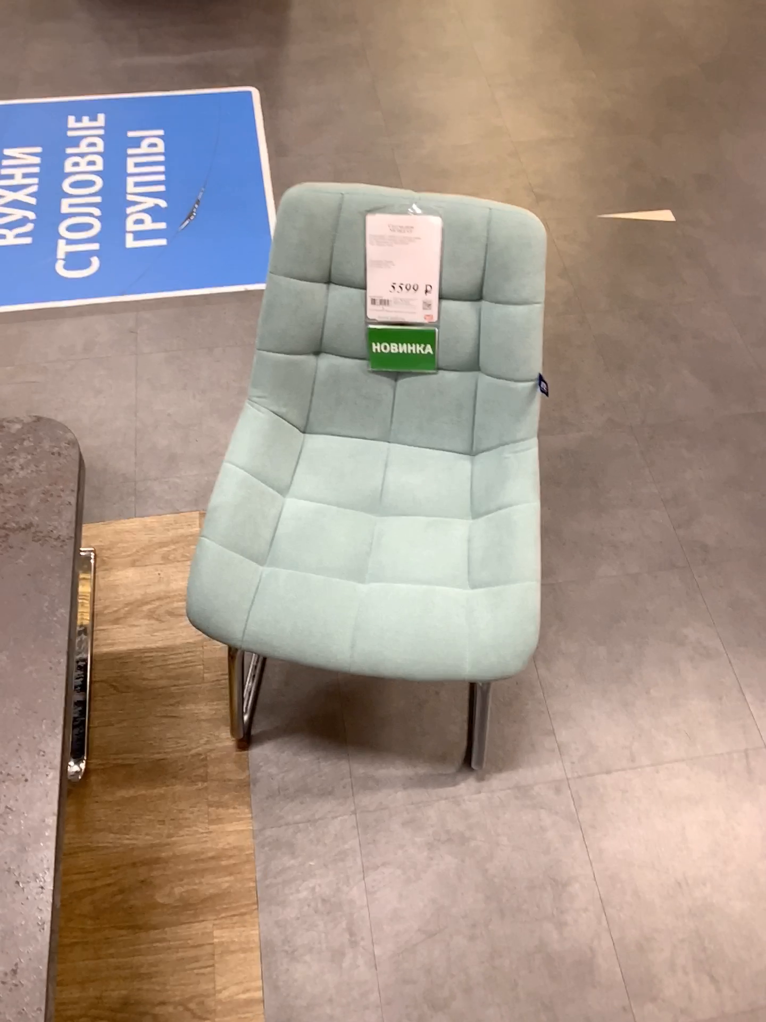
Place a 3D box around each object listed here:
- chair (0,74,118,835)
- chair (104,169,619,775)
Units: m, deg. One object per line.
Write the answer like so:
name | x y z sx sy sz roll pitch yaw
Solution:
chair | -0.794 0.041 1.121 0.510 1.007 0.572 -4 58 -4
chair | -0.007 0.011 1.266 0.510 0.827 0.552 6 57 2
